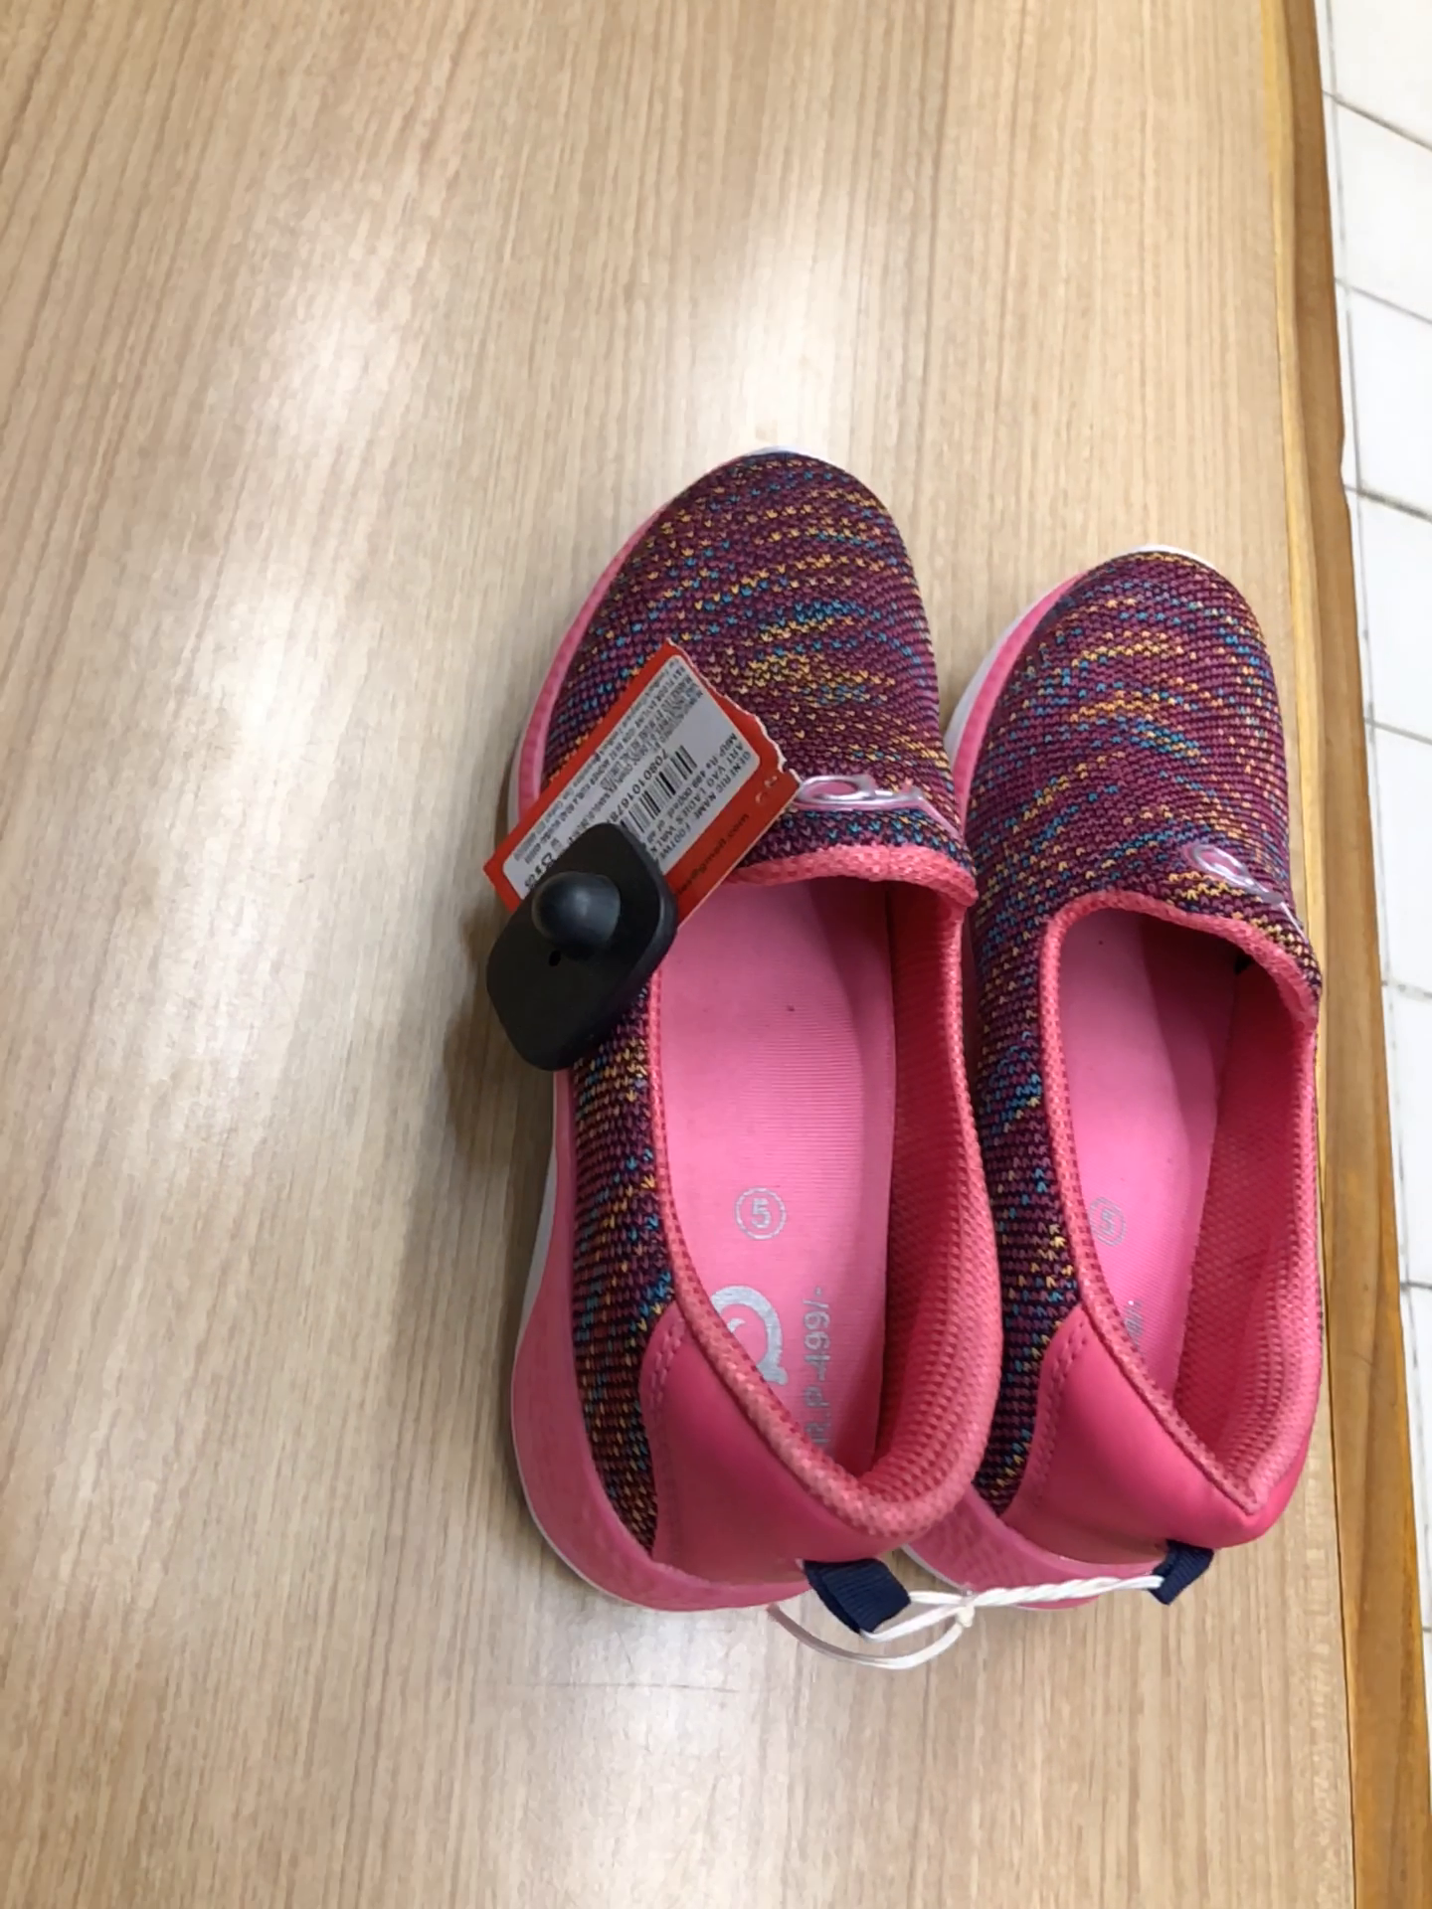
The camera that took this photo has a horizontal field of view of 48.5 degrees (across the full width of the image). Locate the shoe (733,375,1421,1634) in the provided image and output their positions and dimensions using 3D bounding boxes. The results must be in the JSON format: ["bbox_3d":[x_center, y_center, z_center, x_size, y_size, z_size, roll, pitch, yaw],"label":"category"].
[{"bbox_3d":[0.091,0.011,0.382,0.100,0.100,0.261,18,66,-16],"label":"shoe"}]

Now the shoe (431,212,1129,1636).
[{"bbox_3d":[0.010,-0.003,0.322,0.090,0.100,0.251,10,69,-20],"label":"shoe"}]
